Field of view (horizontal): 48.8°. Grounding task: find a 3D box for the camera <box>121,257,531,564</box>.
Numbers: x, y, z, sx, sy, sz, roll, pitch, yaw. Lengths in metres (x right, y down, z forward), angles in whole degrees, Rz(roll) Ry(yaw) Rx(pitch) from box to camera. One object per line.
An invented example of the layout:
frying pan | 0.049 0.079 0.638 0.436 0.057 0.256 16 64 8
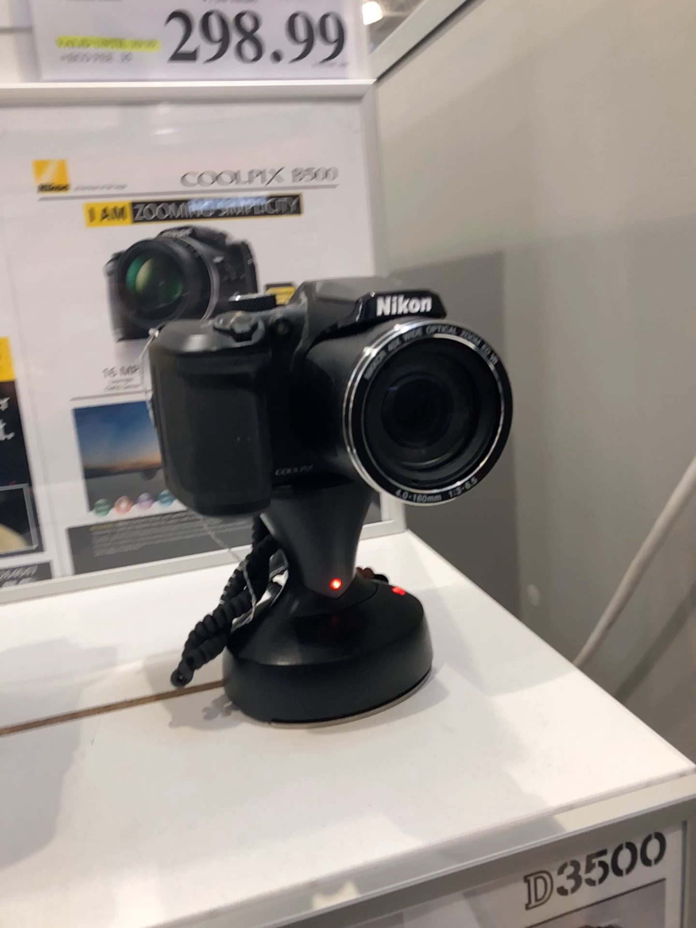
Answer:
camera | -0.012 -0.027 0.279 0.120 0.080 0.090 -10 14 -18
